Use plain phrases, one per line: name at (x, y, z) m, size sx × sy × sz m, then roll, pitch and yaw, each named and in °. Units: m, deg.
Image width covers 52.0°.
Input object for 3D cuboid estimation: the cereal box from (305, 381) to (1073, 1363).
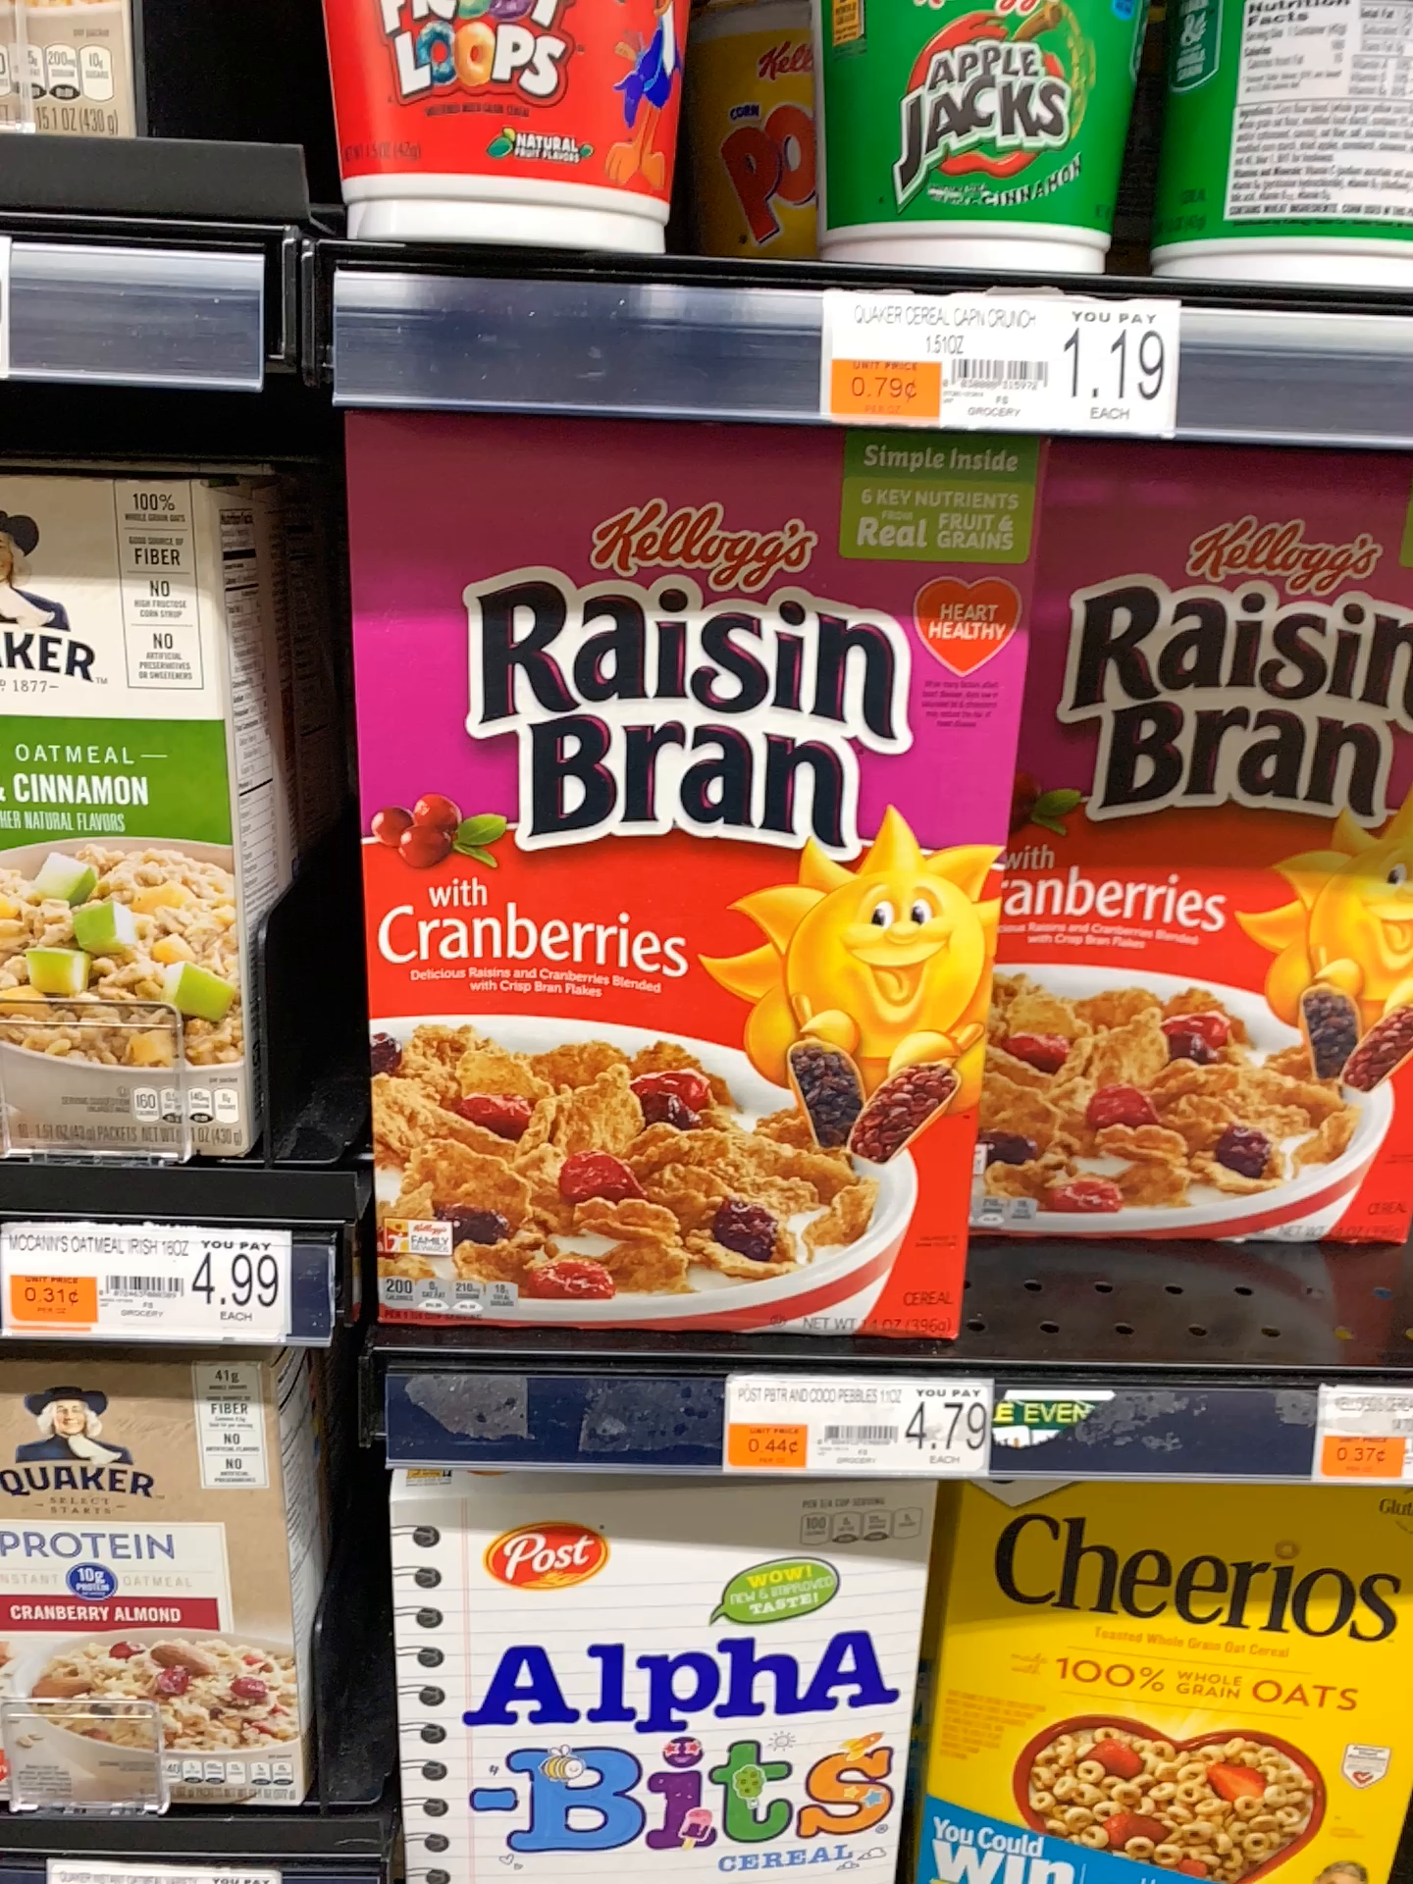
cereal box at (-0.009, -0.014, 0.450) m, size 0.200 × 0.289 × 0.060 m, roll 2°, pitch 18°, yaw -1°
